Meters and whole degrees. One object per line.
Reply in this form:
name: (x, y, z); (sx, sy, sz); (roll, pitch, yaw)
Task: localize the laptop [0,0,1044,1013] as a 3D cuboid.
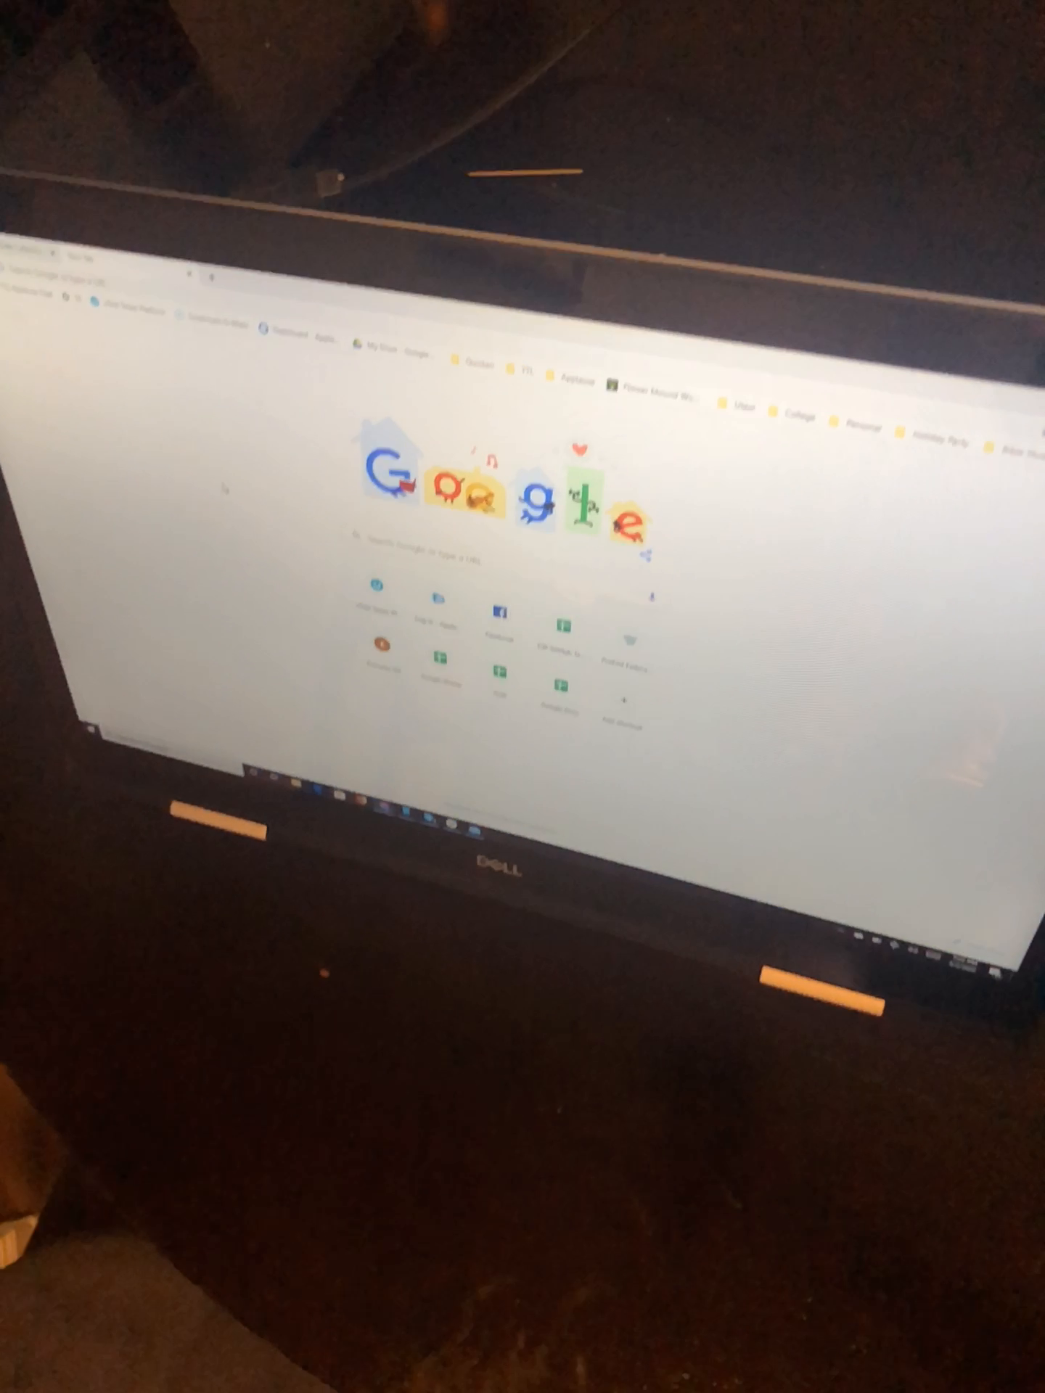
laptop: (0.014, -0.087, 0.408); (0.419, 0.233, 0.267); (14, 75, 15)
